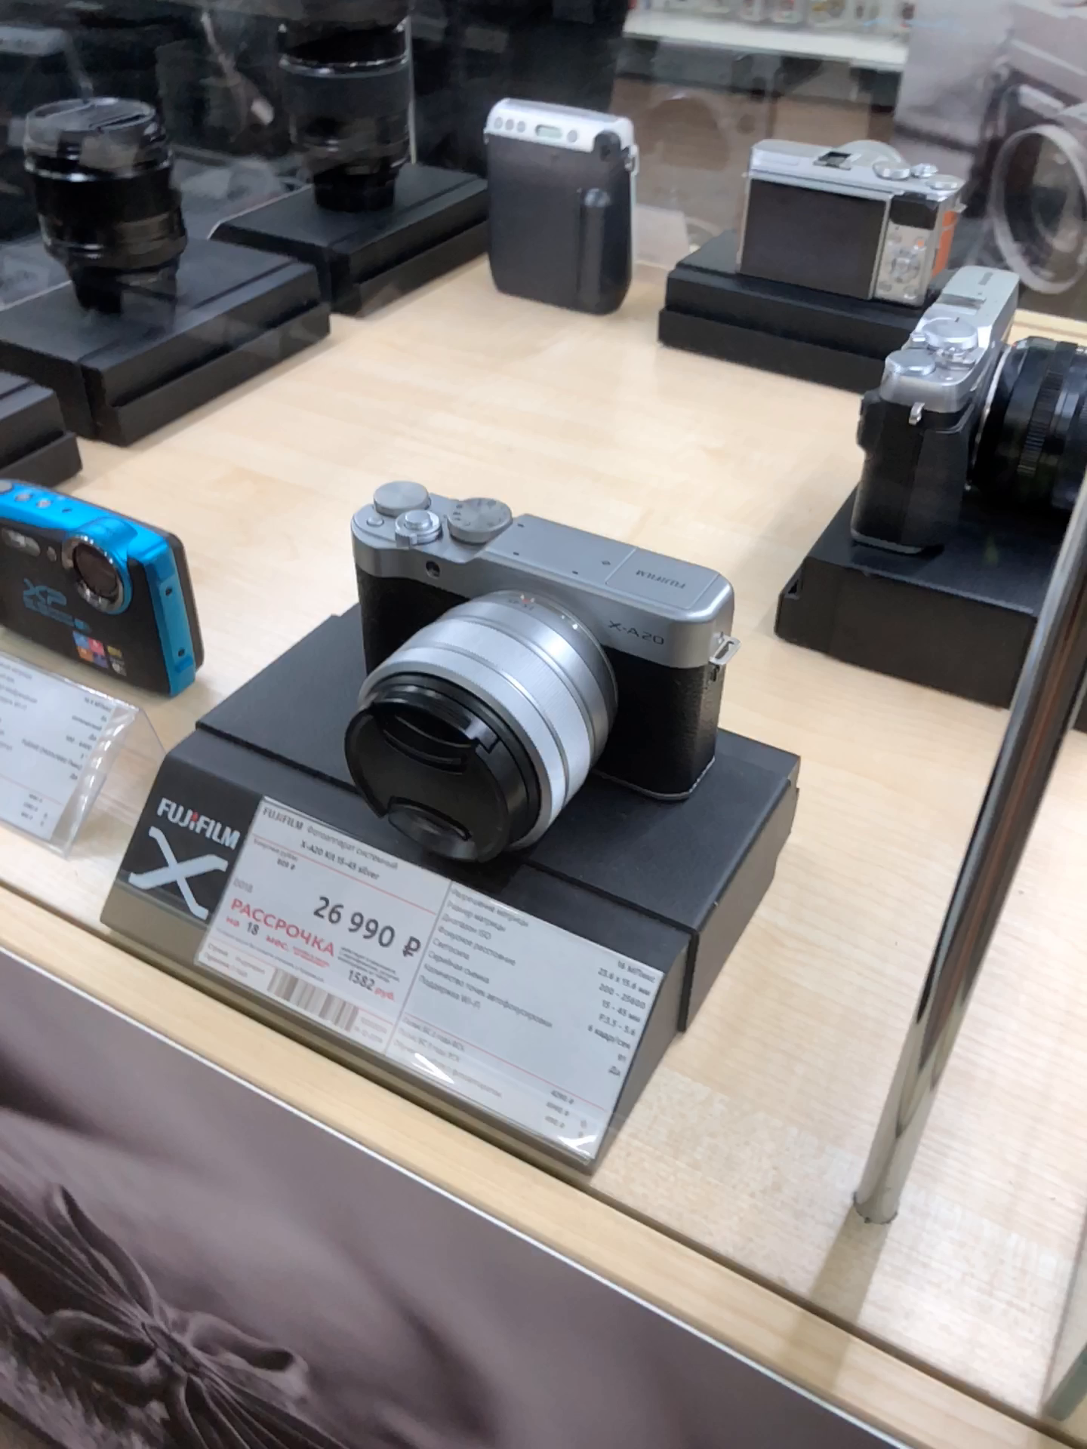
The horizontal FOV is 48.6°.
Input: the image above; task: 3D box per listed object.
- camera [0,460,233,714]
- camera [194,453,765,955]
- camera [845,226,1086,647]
[{"bbox_3d":[-0.171,-0.053,0.454,0.106,0.064,0.025,20,43,22],"label":"camera"},{"bbox_3d":[-0.015,-0.013,0.340,0.120,0.070,0.093,20,42,22],"label":"camera"},{"bbox_3d":[0.218,-0.128,0.485,0.130,0.074,0.188,19,42,21],"label":"camera"}]
